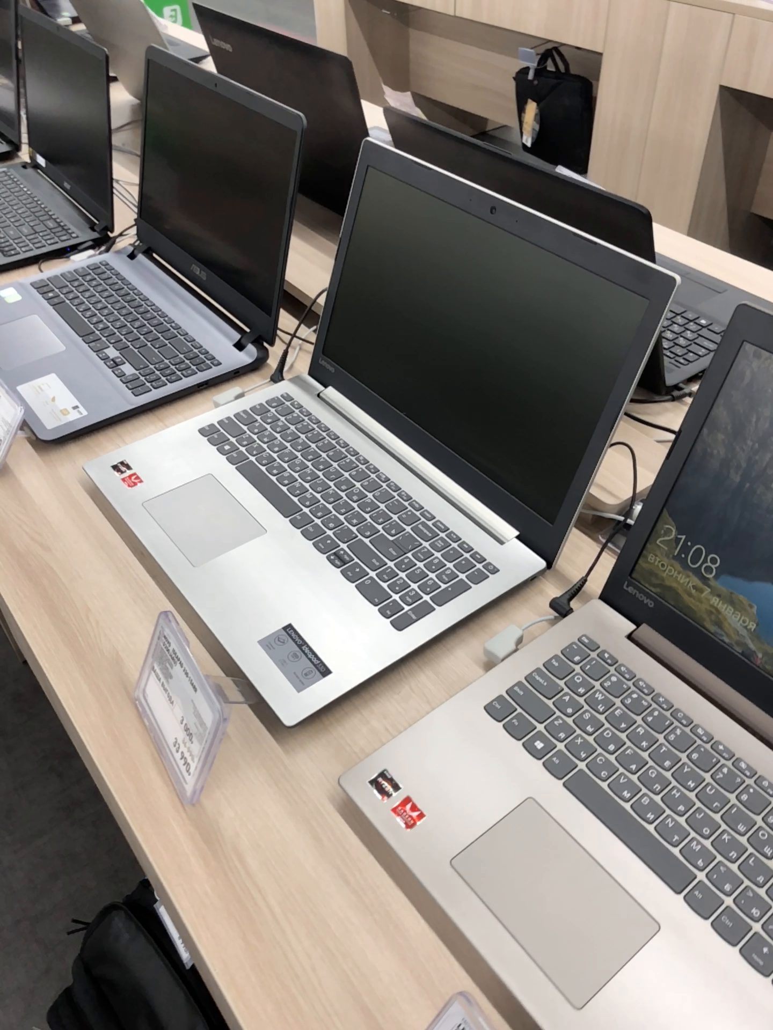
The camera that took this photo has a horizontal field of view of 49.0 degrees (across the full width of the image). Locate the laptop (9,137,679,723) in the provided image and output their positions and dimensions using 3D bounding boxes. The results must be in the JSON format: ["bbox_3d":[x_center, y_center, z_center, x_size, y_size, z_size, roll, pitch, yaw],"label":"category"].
[{"bbox_3d":[-0.043,-0.106,0.687,0.336,0.220,0.366,-28,48,-25],"label":"laptop"}]

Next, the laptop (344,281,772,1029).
[{"bbox_3d":[0.205,0.109,0.431,0.327,0.222,0.358,-30,49,-27],"label":"laptop"}]

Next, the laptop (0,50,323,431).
[{"bbox_3d":[-0.308,-0.317,0.922,0.319,0.232,0.327,-27,47,-25],"label":"laptop"}]
